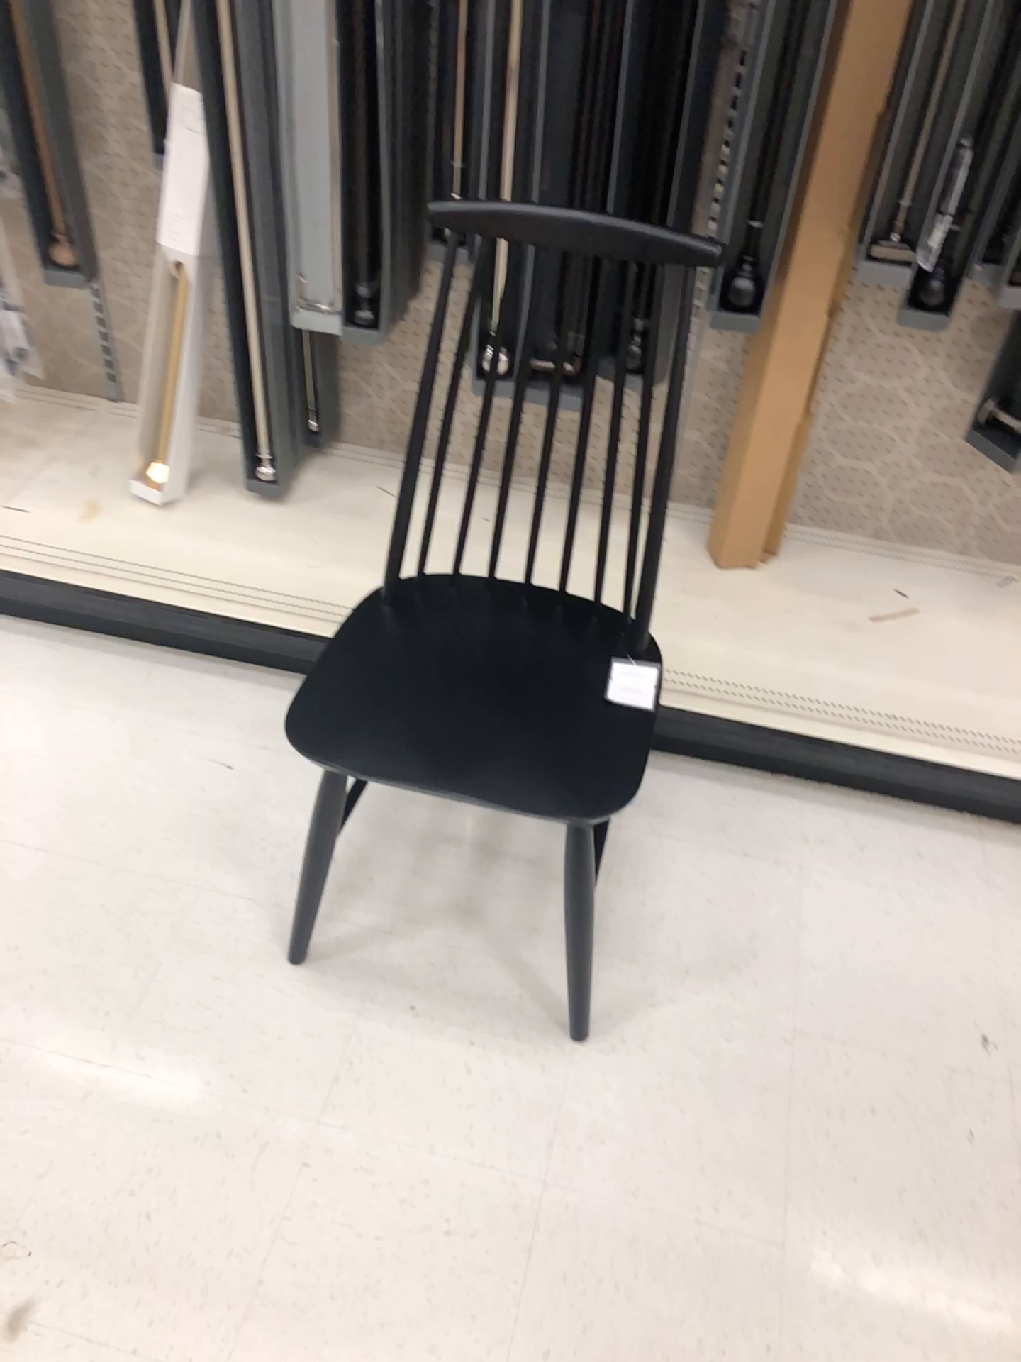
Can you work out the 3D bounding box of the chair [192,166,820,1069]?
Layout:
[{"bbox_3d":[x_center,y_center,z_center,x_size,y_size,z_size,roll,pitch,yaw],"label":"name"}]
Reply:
[{"bbox_3d":[0.020,-0.067,1.458,0.517,0.909,0.611,12,42,8],"label":"chair"}]
